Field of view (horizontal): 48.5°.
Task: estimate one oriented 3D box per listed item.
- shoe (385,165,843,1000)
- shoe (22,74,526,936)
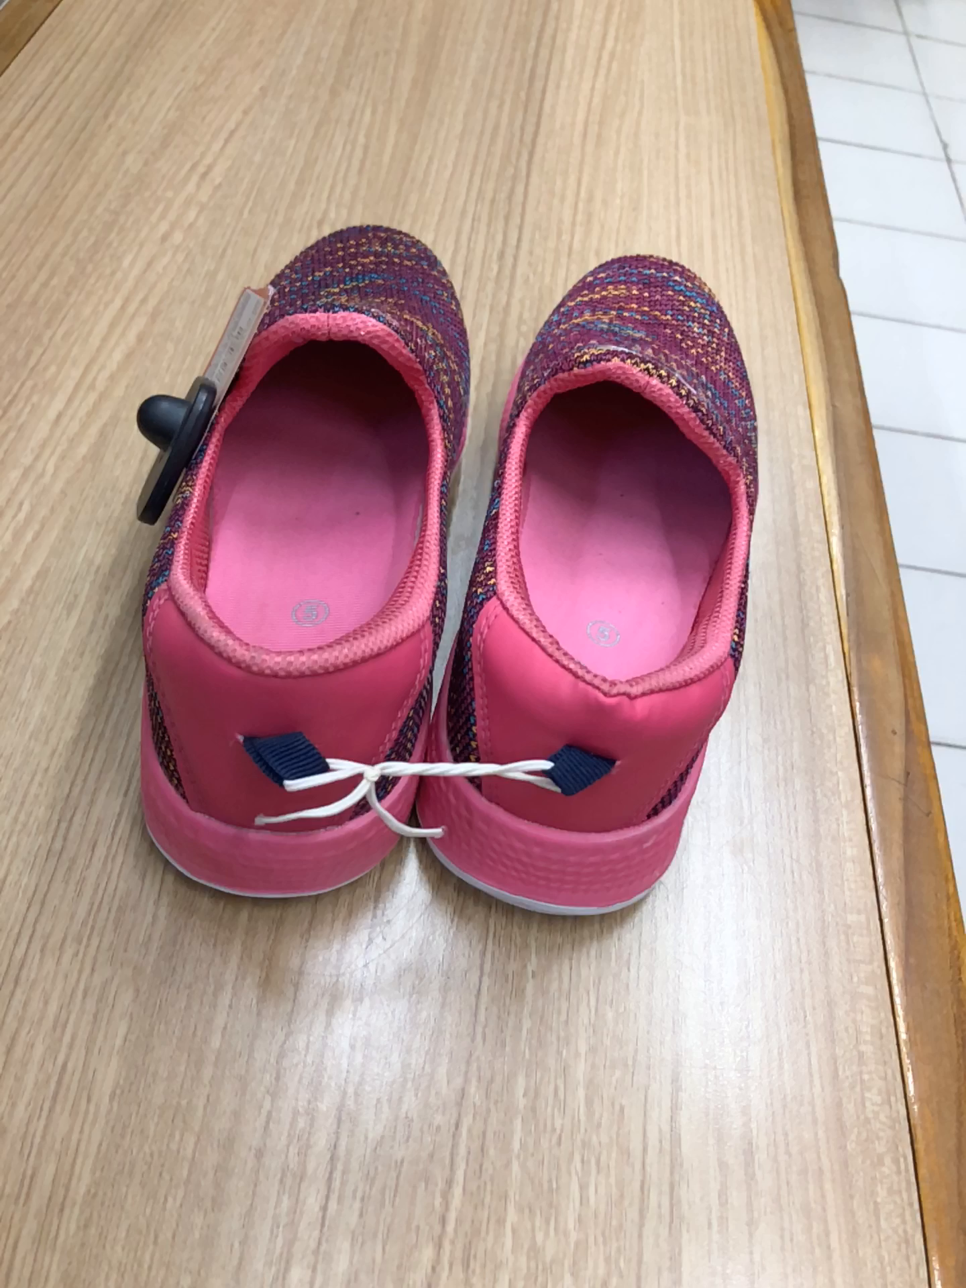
[{"bbox_3d":[0.052,-0.037,0.358,0.100,0.099,0.262,13,53,2],"label":"shoe"},{"bbox_3d":[-0.043,-0.056,0.324,0.090,0.099,0.251,7,53,-4],"label":"shoe"}]
